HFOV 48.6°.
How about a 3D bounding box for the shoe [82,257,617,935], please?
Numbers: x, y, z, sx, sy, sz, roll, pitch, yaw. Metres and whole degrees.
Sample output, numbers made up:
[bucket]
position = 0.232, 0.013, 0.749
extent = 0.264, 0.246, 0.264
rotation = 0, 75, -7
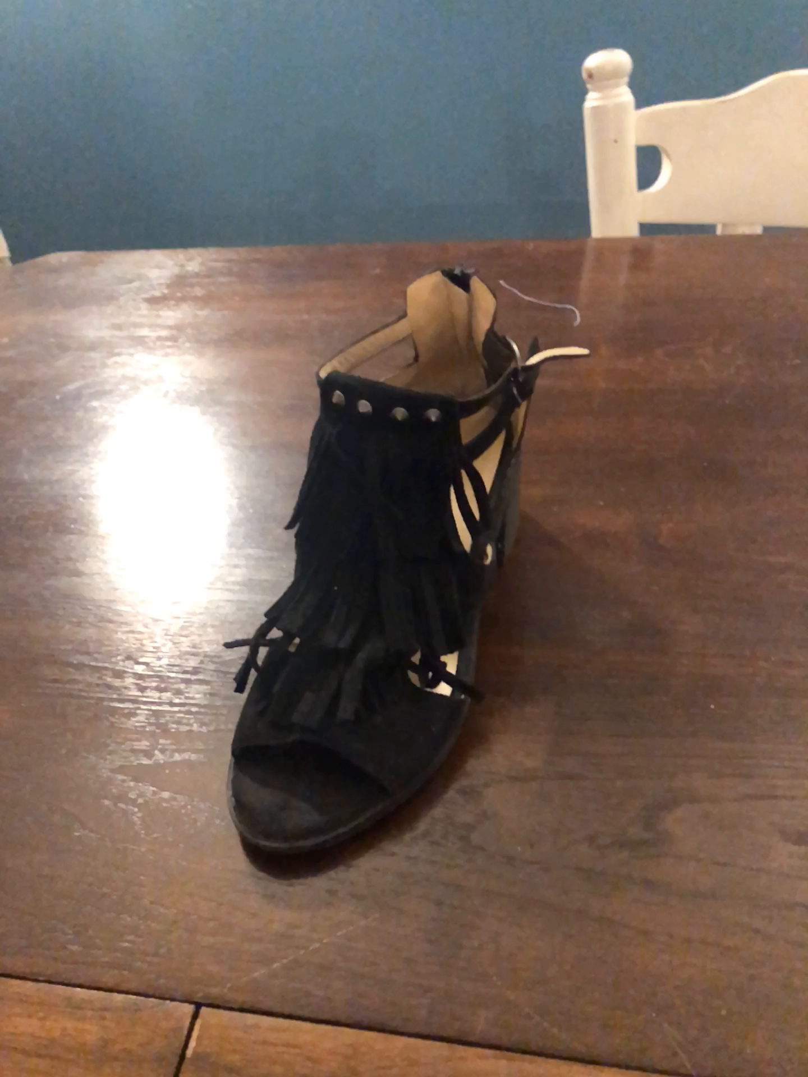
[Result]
[shoe]
position = 0.005, 0.004, 0.381
extent = 0.100, 0.149, 0.240
rotation = 13, 43, 22
